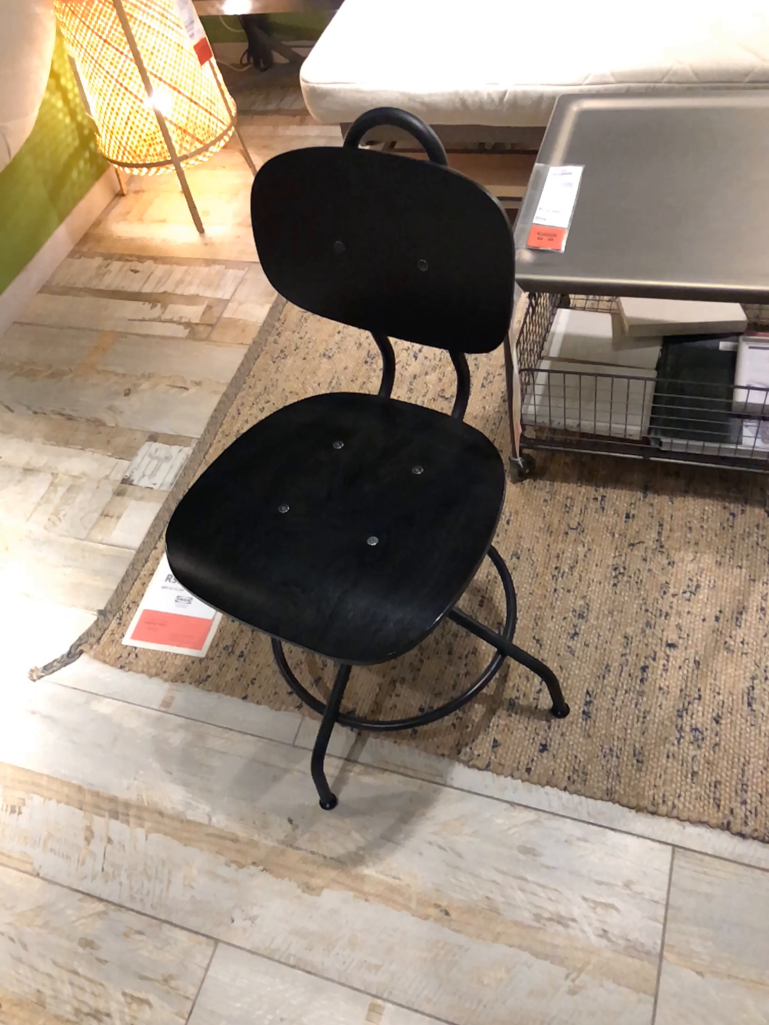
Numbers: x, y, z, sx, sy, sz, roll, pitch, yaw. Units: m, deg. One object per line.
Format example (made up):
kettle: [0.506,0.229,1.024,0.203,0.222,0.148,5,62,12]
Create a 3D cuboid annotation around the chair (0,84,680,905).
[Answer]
chair: [-0.033,-0.003,1.080,0.591,0.766,0.582,17,60,25]
